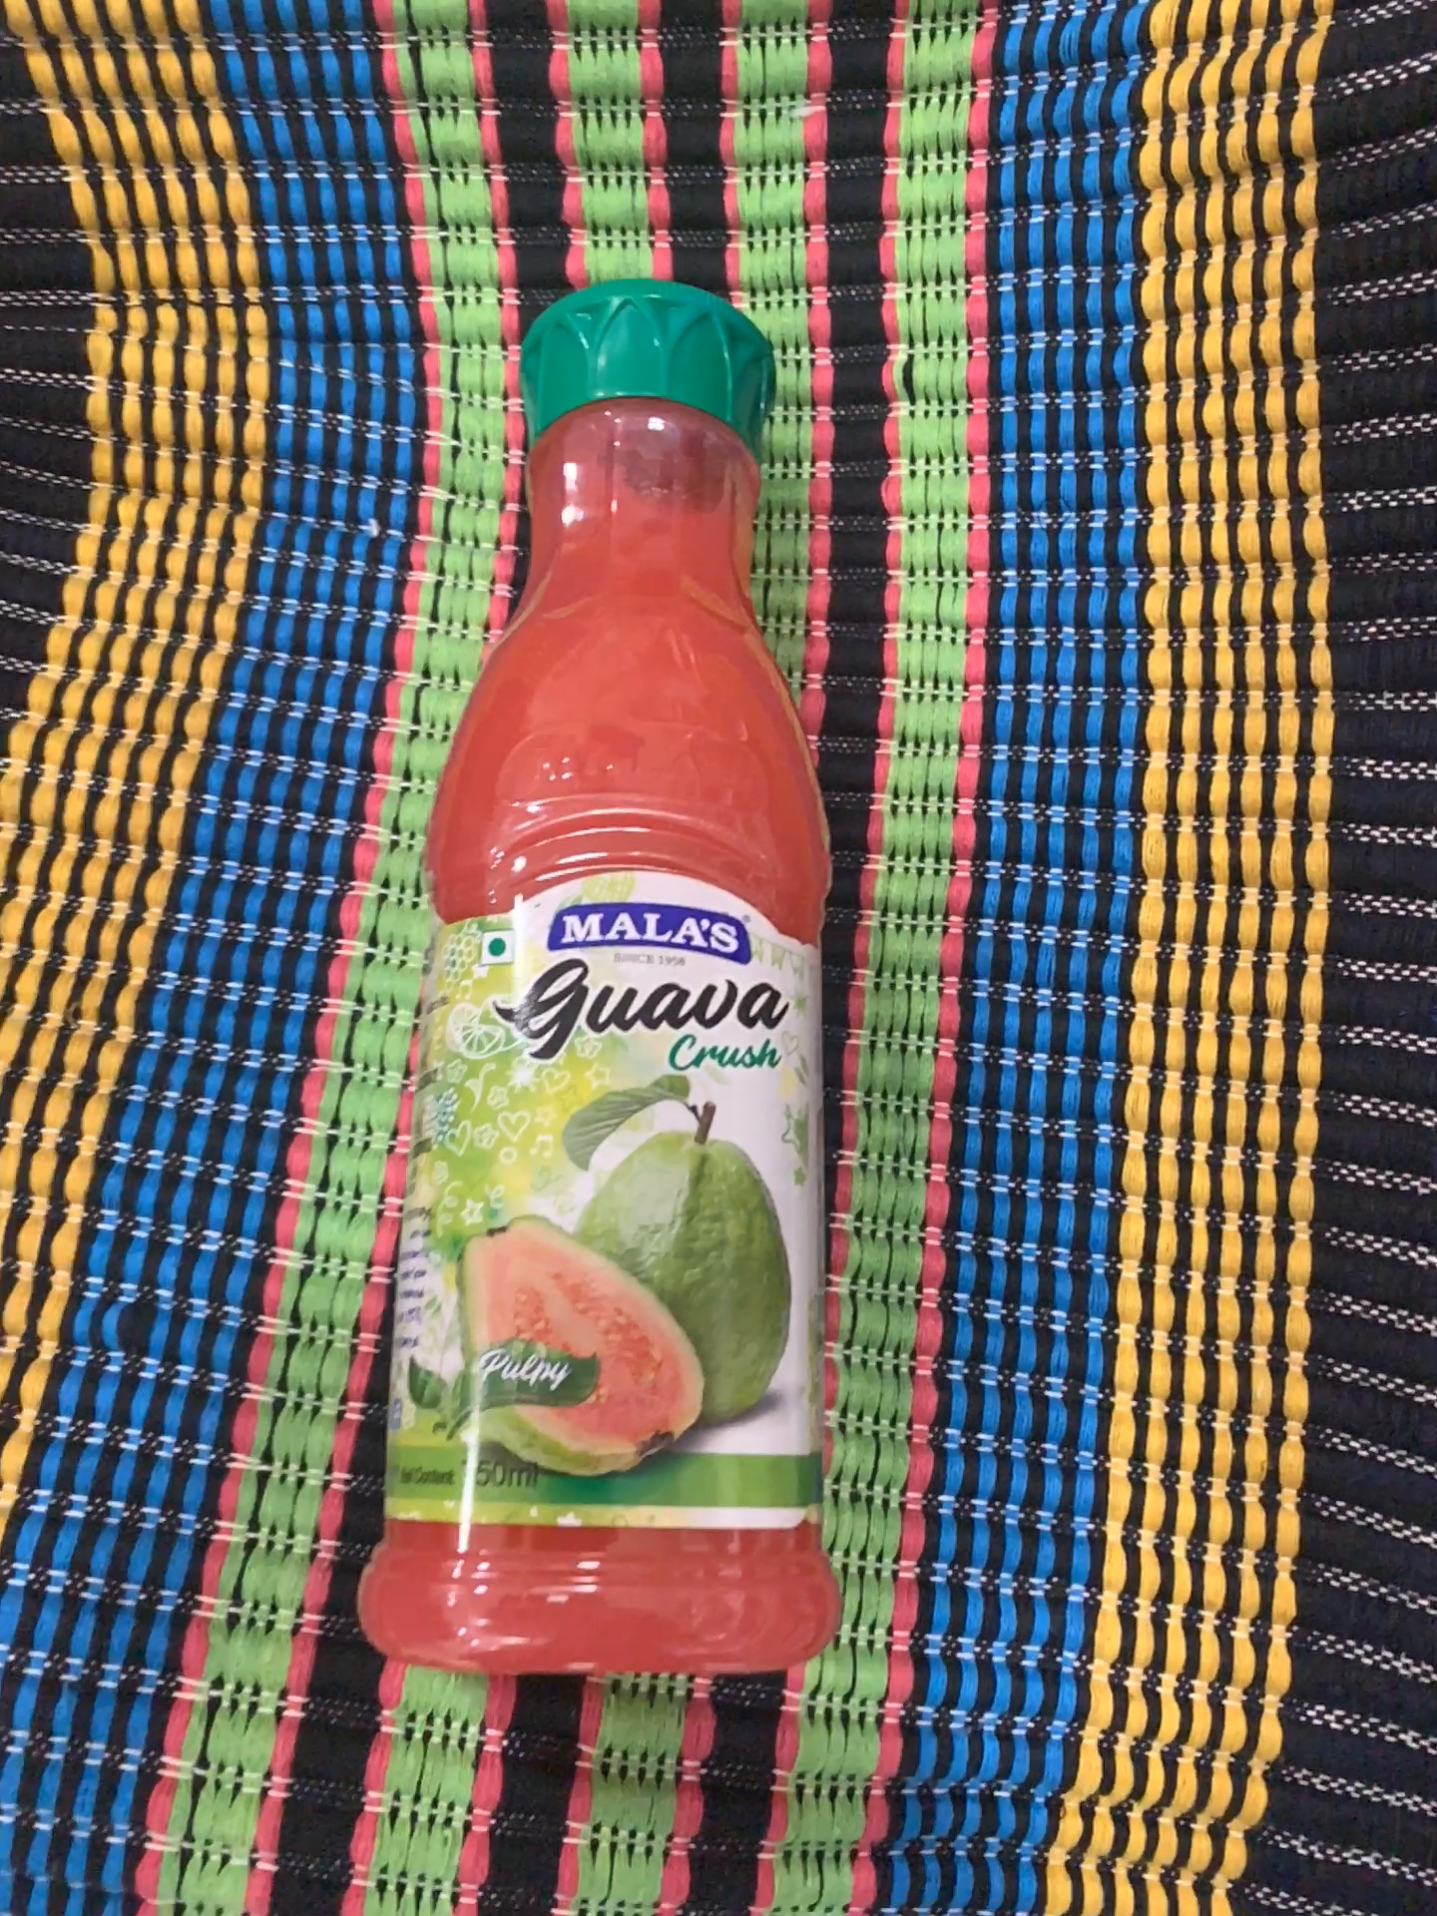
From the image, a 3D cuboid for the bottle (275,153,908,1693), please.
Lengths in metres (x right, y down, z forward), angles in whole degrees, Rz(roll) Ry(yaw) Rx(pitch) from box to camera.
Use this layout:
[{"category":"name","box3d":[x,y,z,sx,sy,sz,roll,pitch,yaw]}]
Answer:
[{"category":"bottle","box3d":[-0.020,-0.014,0.272,0.080,0.080,0.260,2,69,-5]}]
